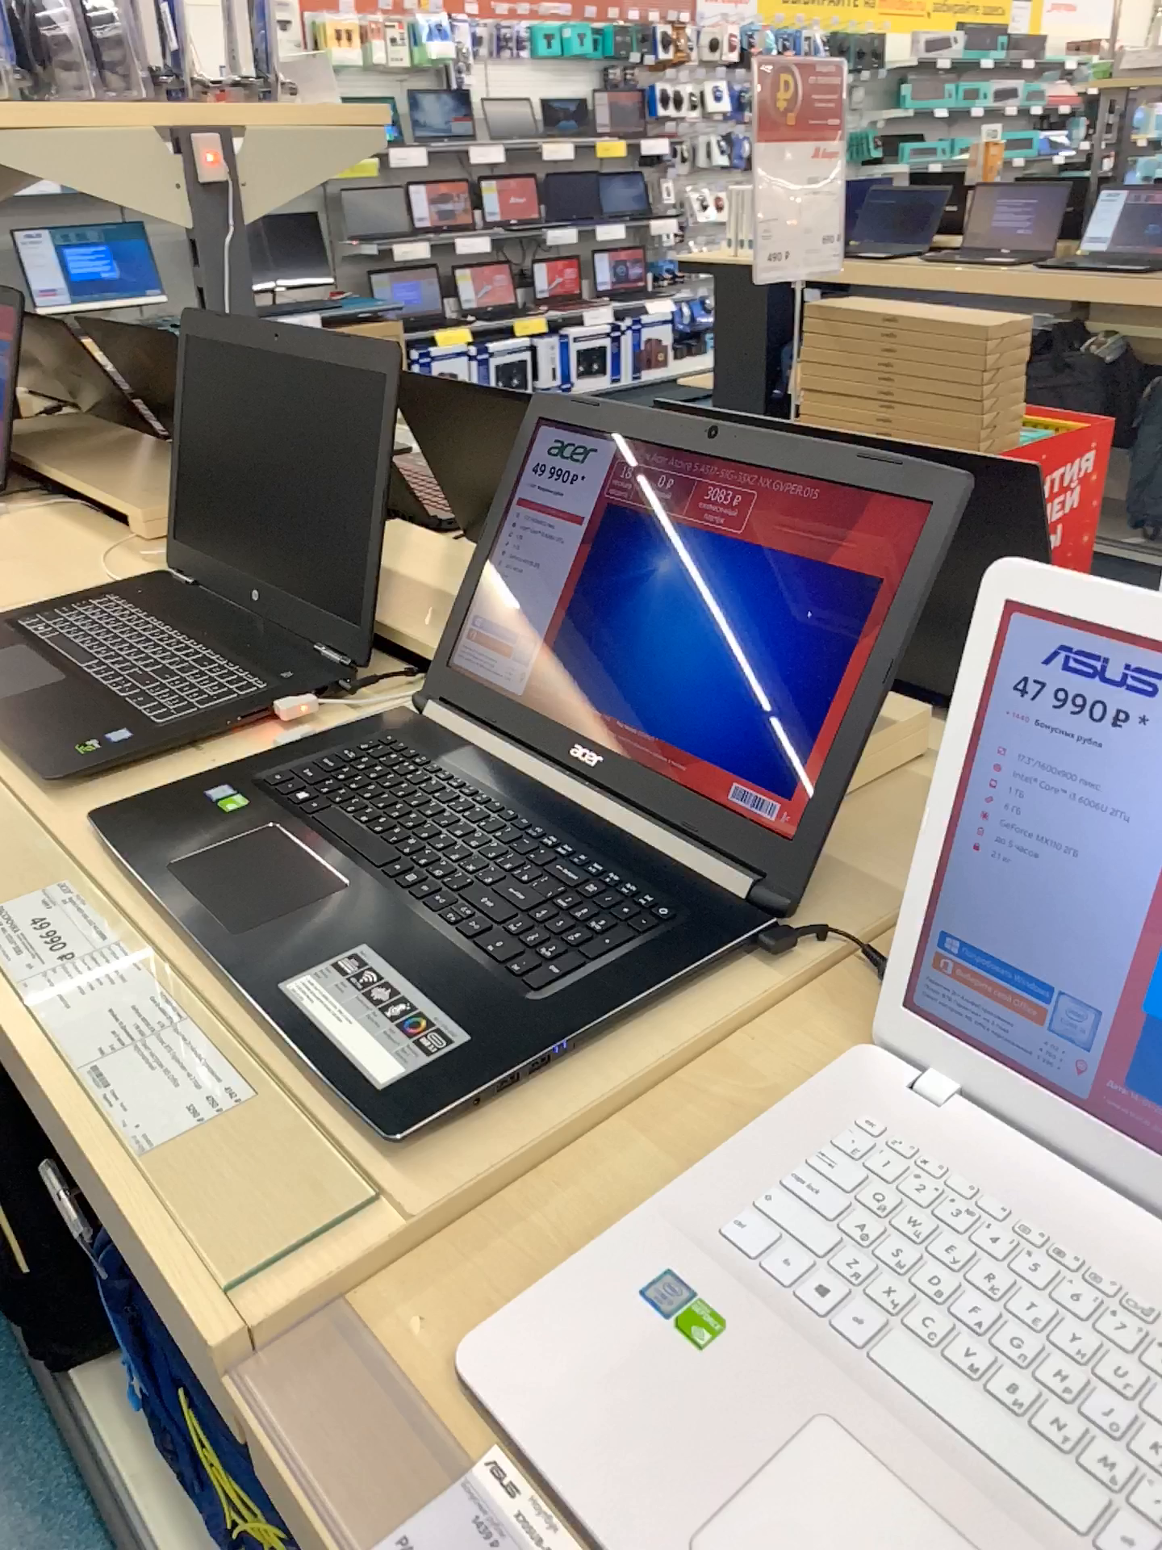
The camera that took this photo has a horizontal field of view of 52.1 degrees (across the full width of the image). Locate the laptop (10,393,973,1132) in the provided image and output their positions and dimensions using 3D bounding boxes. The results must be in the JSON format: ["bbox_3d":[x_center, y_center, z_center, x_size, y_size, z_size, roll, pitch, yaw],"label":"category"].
[{"bbox_3d":[-0.064,-0.073,0.780,0.420,0.235,0.422,-22,34,-33],"label":"laptop"}]
